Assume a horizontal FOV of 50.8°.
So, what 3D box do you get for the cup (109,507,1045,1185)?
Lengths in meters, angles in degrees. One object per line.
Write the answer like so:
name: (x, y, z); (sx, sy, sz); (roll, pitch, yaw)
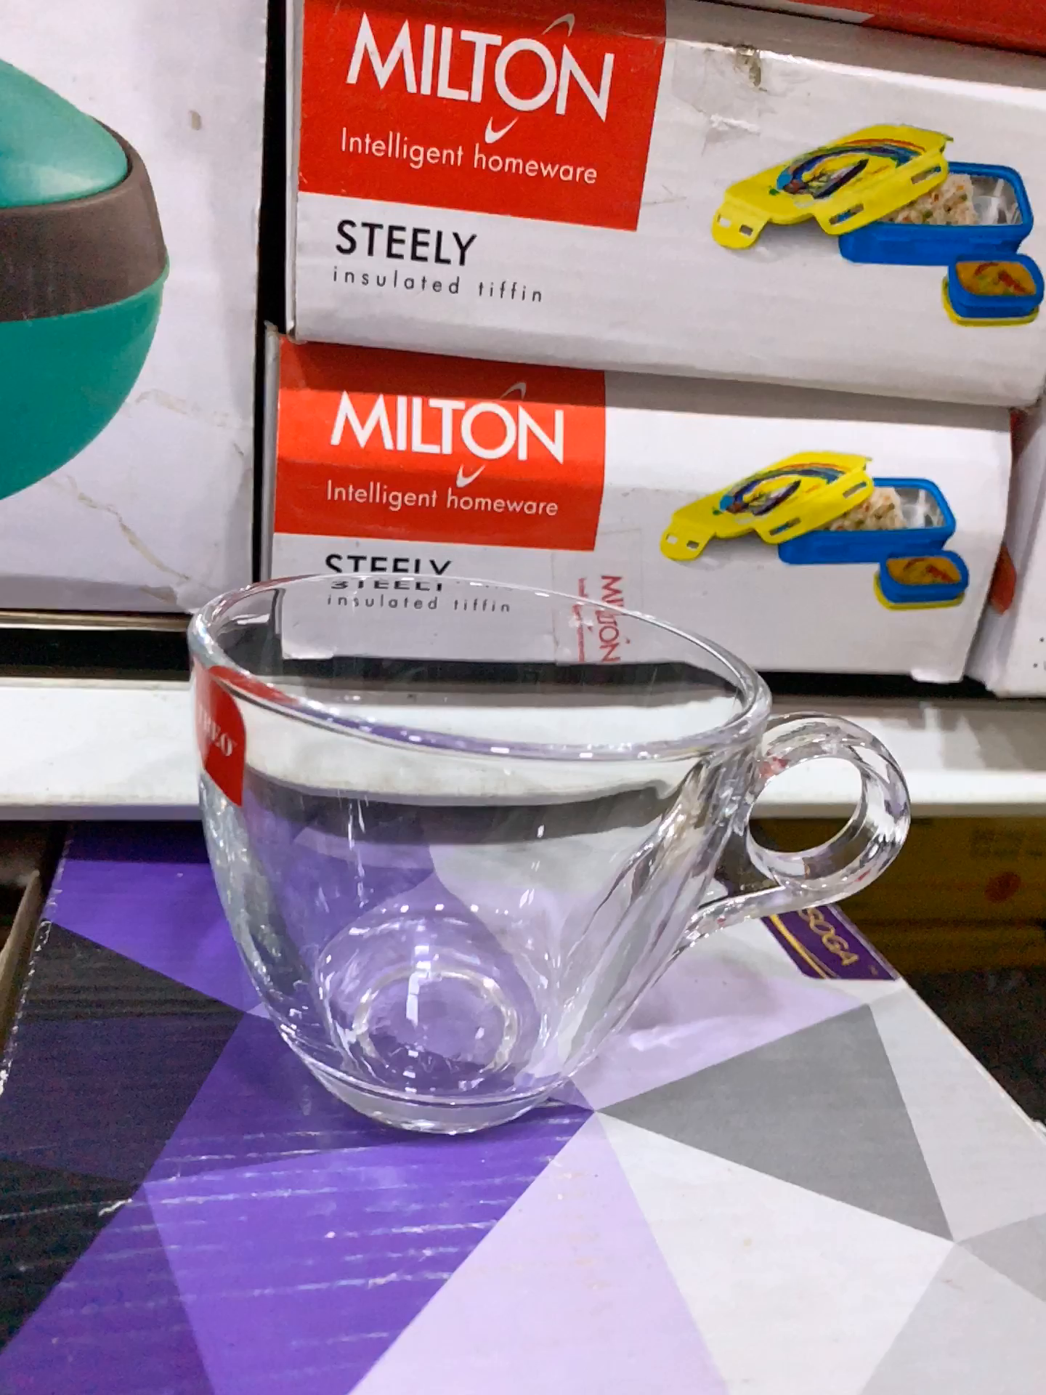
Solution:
cup: (0.003, 0.014, 0.165); (0.110, 0.060, 0.081); (1, 23, -13)
